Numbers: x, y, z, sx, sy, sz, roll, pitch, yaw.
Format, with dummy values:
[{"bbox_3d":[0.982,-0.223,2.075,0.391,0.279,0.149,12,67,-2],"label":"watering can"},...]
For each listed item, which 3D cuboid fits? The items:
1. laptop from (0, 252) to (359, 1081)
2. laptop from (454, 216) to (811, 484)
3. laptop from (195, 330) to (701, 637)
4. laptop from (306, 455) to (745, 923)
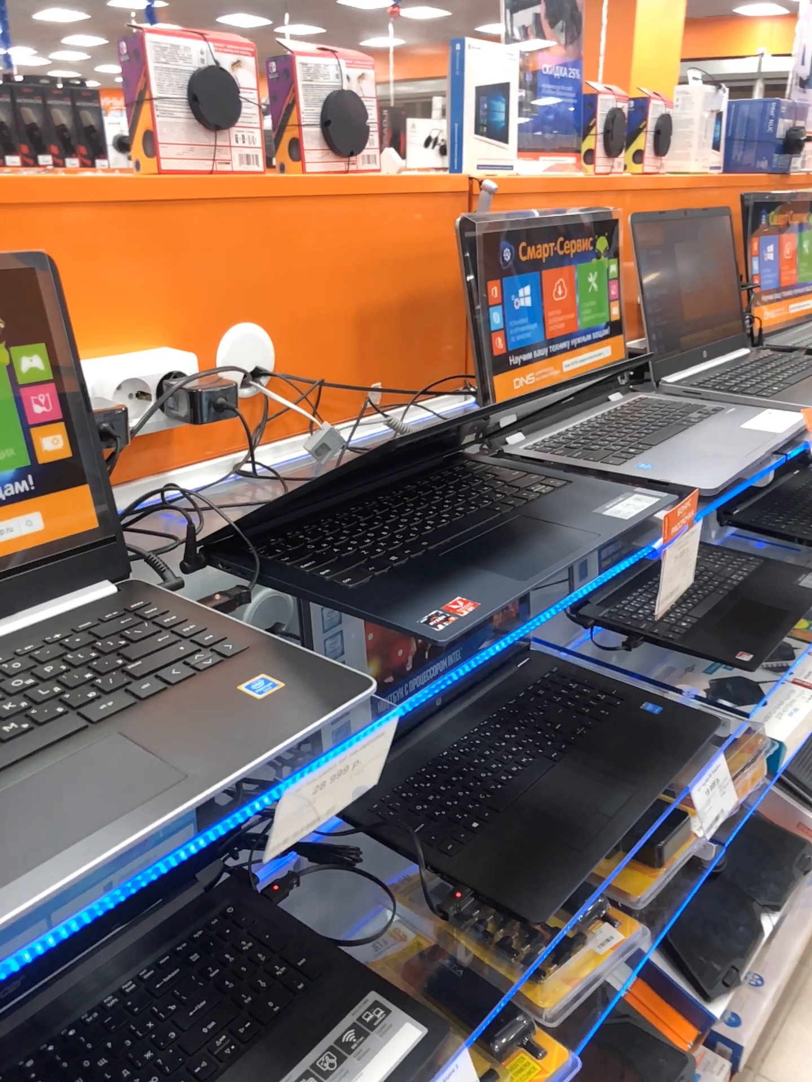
[{"bbox_3d":[-0.212,-0.006,0.383,0.250,0.200,0.303,17,27,37],"label":"laptop"},{"bbox_3d":[0.250,-0.216,0.901,0.257,0.203,0.331,14,26,33],"label":"laptop"},{"bbox_3d":[0.042,-0.066,0.641,0.203,0.108,0.303,18,29,38],"label":"laptop"},{"bbox_3d":[0.122,0.101,0.863,0.258,0.227,0.355,19,30,36],"label":"laptop"}]
